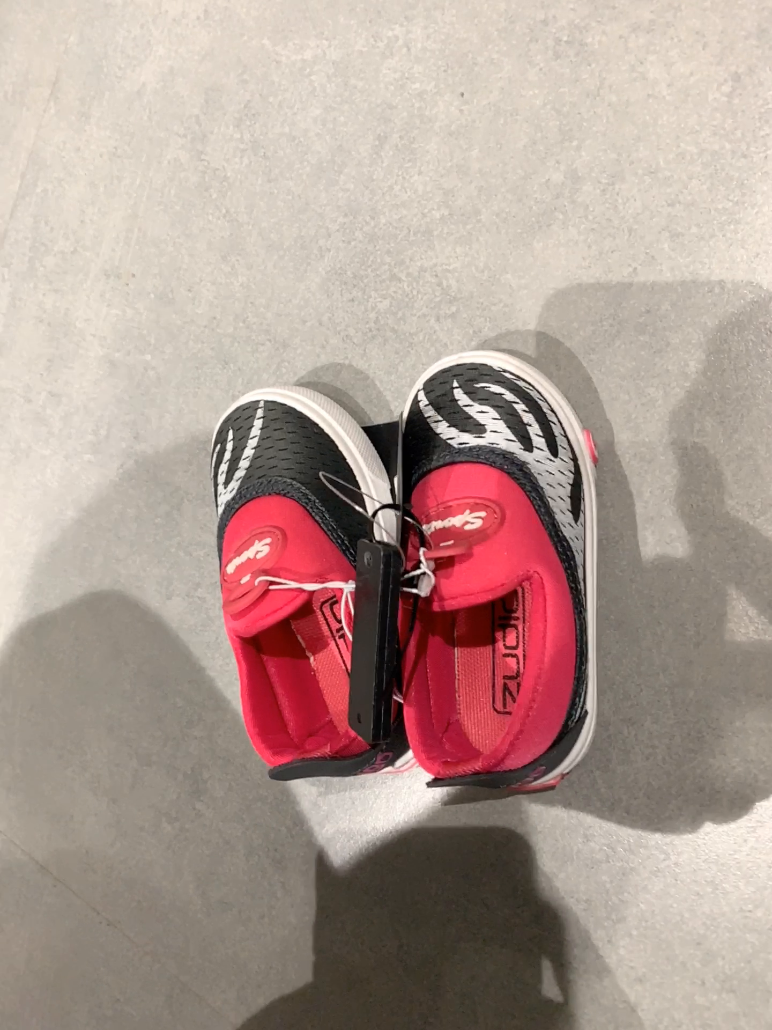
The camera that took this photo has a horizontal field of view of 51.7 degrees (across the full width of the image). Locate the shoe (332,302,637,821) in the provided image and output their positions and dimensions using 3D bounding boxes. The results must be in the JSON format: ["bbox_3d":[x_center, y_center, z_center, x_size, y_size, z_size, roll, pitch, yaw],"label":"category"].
[{"bbox_3d":[0.033,0.016,0.256,0.070,0.060,0.140,-7,85,24],"label":"shoe"}]

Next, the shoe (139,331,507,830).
[{"bbox_3d":[-0.021,0.020,0.271,0.060,0.060,0.140,-26,78,21],"label":"shoe"}]
